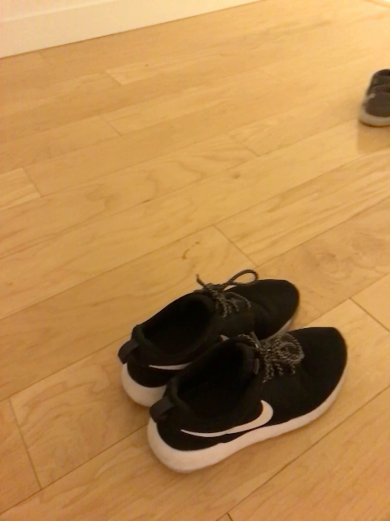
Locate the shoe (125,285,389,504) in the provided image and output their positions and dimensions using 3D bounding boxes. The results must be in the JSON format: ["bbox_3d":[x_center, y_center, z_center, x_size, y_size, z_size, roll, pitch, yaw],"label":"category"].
[{"bbox_3d":[0.072,0.140,0.486,0.271,0.070,0.121,-21,48,-18],"label":"shoe"}]

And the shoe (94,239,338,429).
[{"bbox_3d":[0.027,0.081,0.542,0.271,0.070,0.131,-21,48,-18],"label":"shoe"}]
